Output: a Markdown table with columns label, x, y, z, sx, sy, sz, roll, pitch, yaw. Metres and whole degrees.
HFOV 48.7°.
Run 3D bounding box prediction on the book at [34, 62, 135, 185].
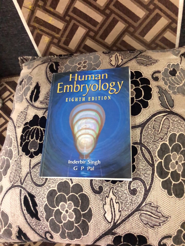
| label | x | y | z | sx | sy | sz | roll | pitch | yaw |
| --- | --- | --- | --- | --- | --- | --- | --- | --- | --- |
| book | -0.010 | -0.008 | 0.454 | 0.200 | 0.030 | 0.270 | -1 | 69 | 10 |
